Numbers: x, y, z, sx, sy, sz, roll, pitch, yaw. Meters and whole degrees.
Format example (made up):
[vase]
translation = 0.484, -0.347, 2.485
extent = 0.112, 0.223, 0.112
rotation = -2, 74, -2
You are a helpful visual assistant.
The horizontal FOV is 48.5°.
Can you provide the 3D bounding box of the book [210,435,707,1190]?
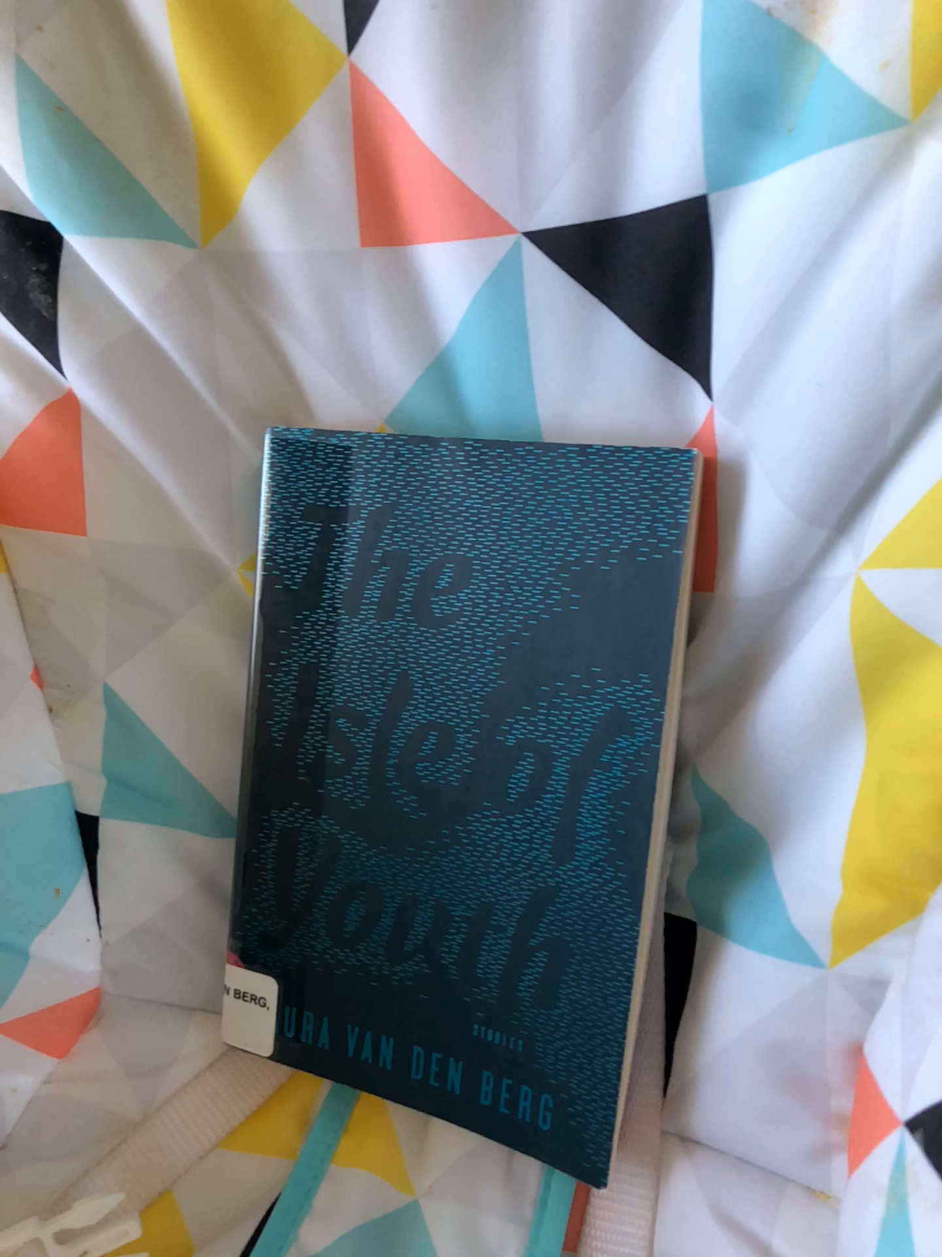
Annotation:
[book]
translation = -0.009, 0.041, 0.290
extent = 0.124, 0.032, 0.180
rotation = 8, 97, 26
